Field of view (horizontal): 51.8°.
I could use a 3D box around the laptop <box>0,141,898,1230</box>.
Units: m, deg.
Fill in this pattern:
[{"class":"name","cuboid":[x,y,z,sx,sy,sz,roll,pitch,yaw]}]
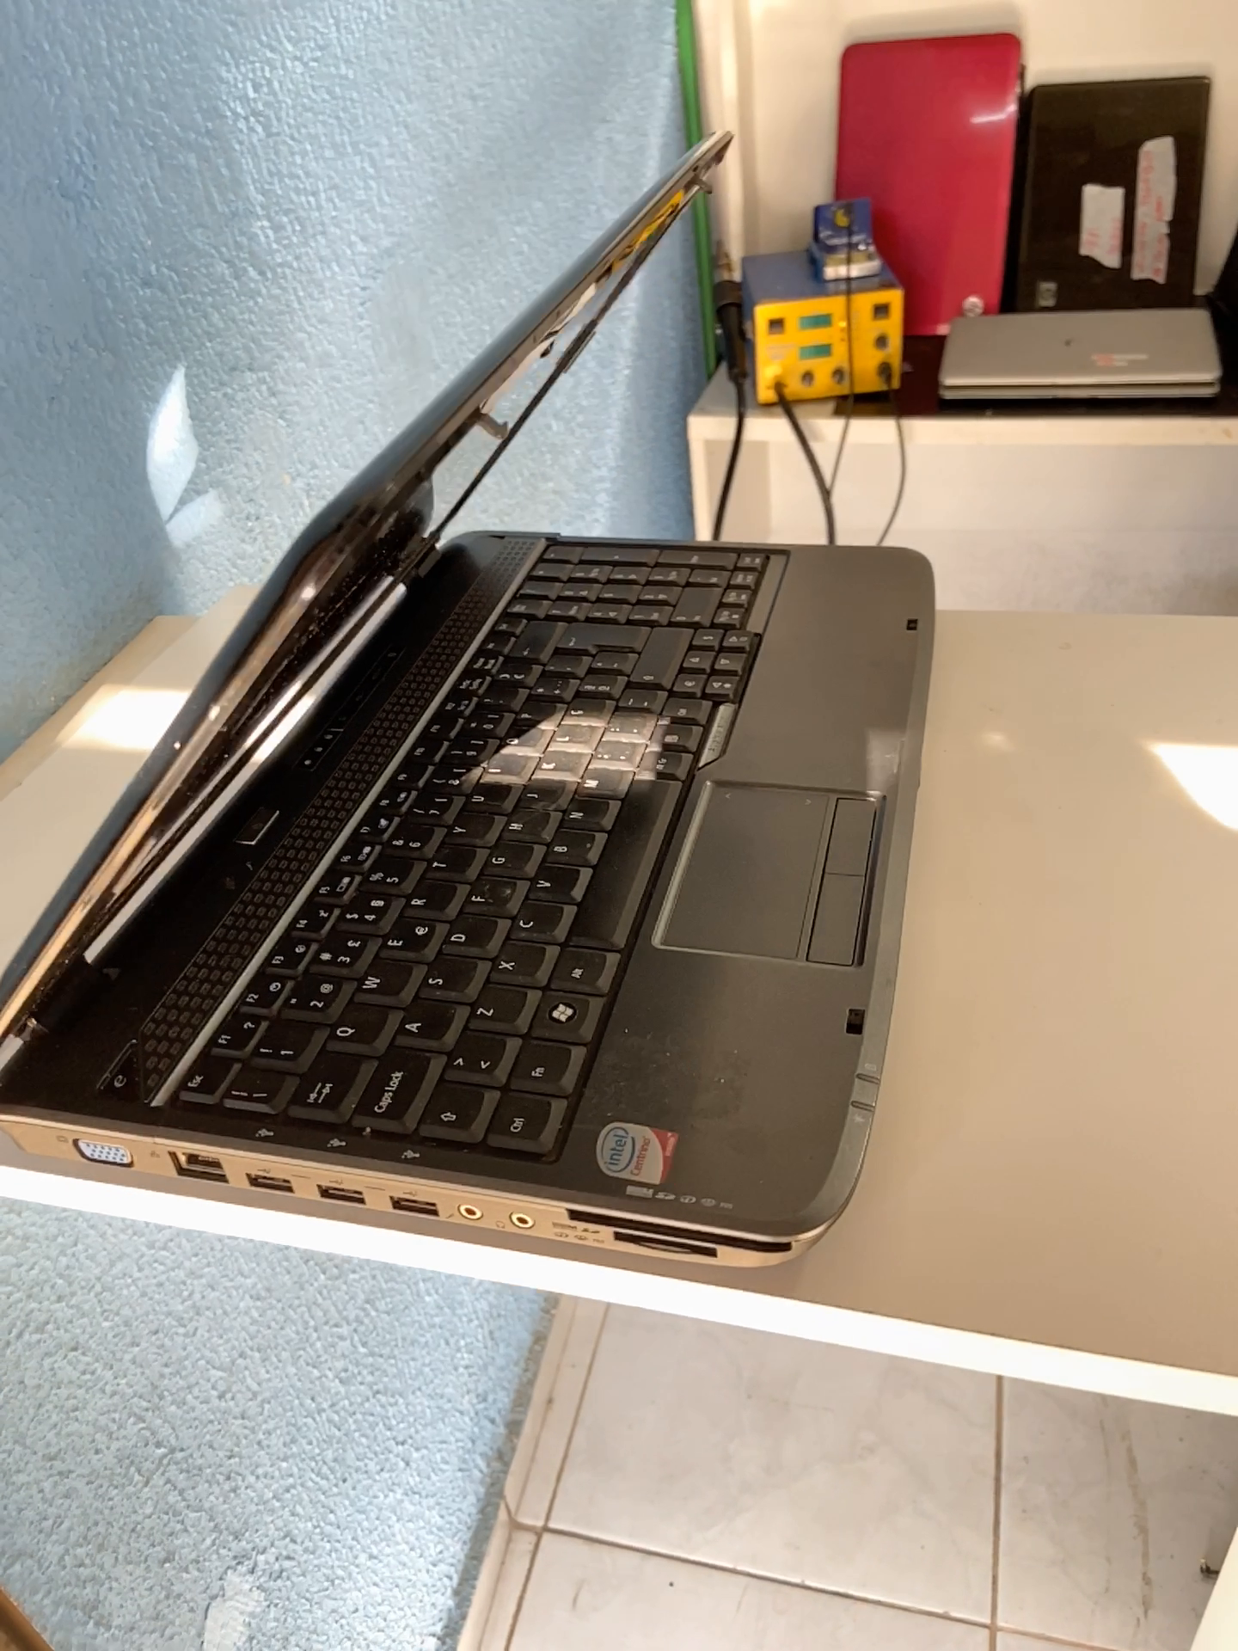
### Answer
[{"class":"laptop","cuboid":[-0.036,-0.094,0.431,0.235,0.174,0.380,3,36,15]}]
